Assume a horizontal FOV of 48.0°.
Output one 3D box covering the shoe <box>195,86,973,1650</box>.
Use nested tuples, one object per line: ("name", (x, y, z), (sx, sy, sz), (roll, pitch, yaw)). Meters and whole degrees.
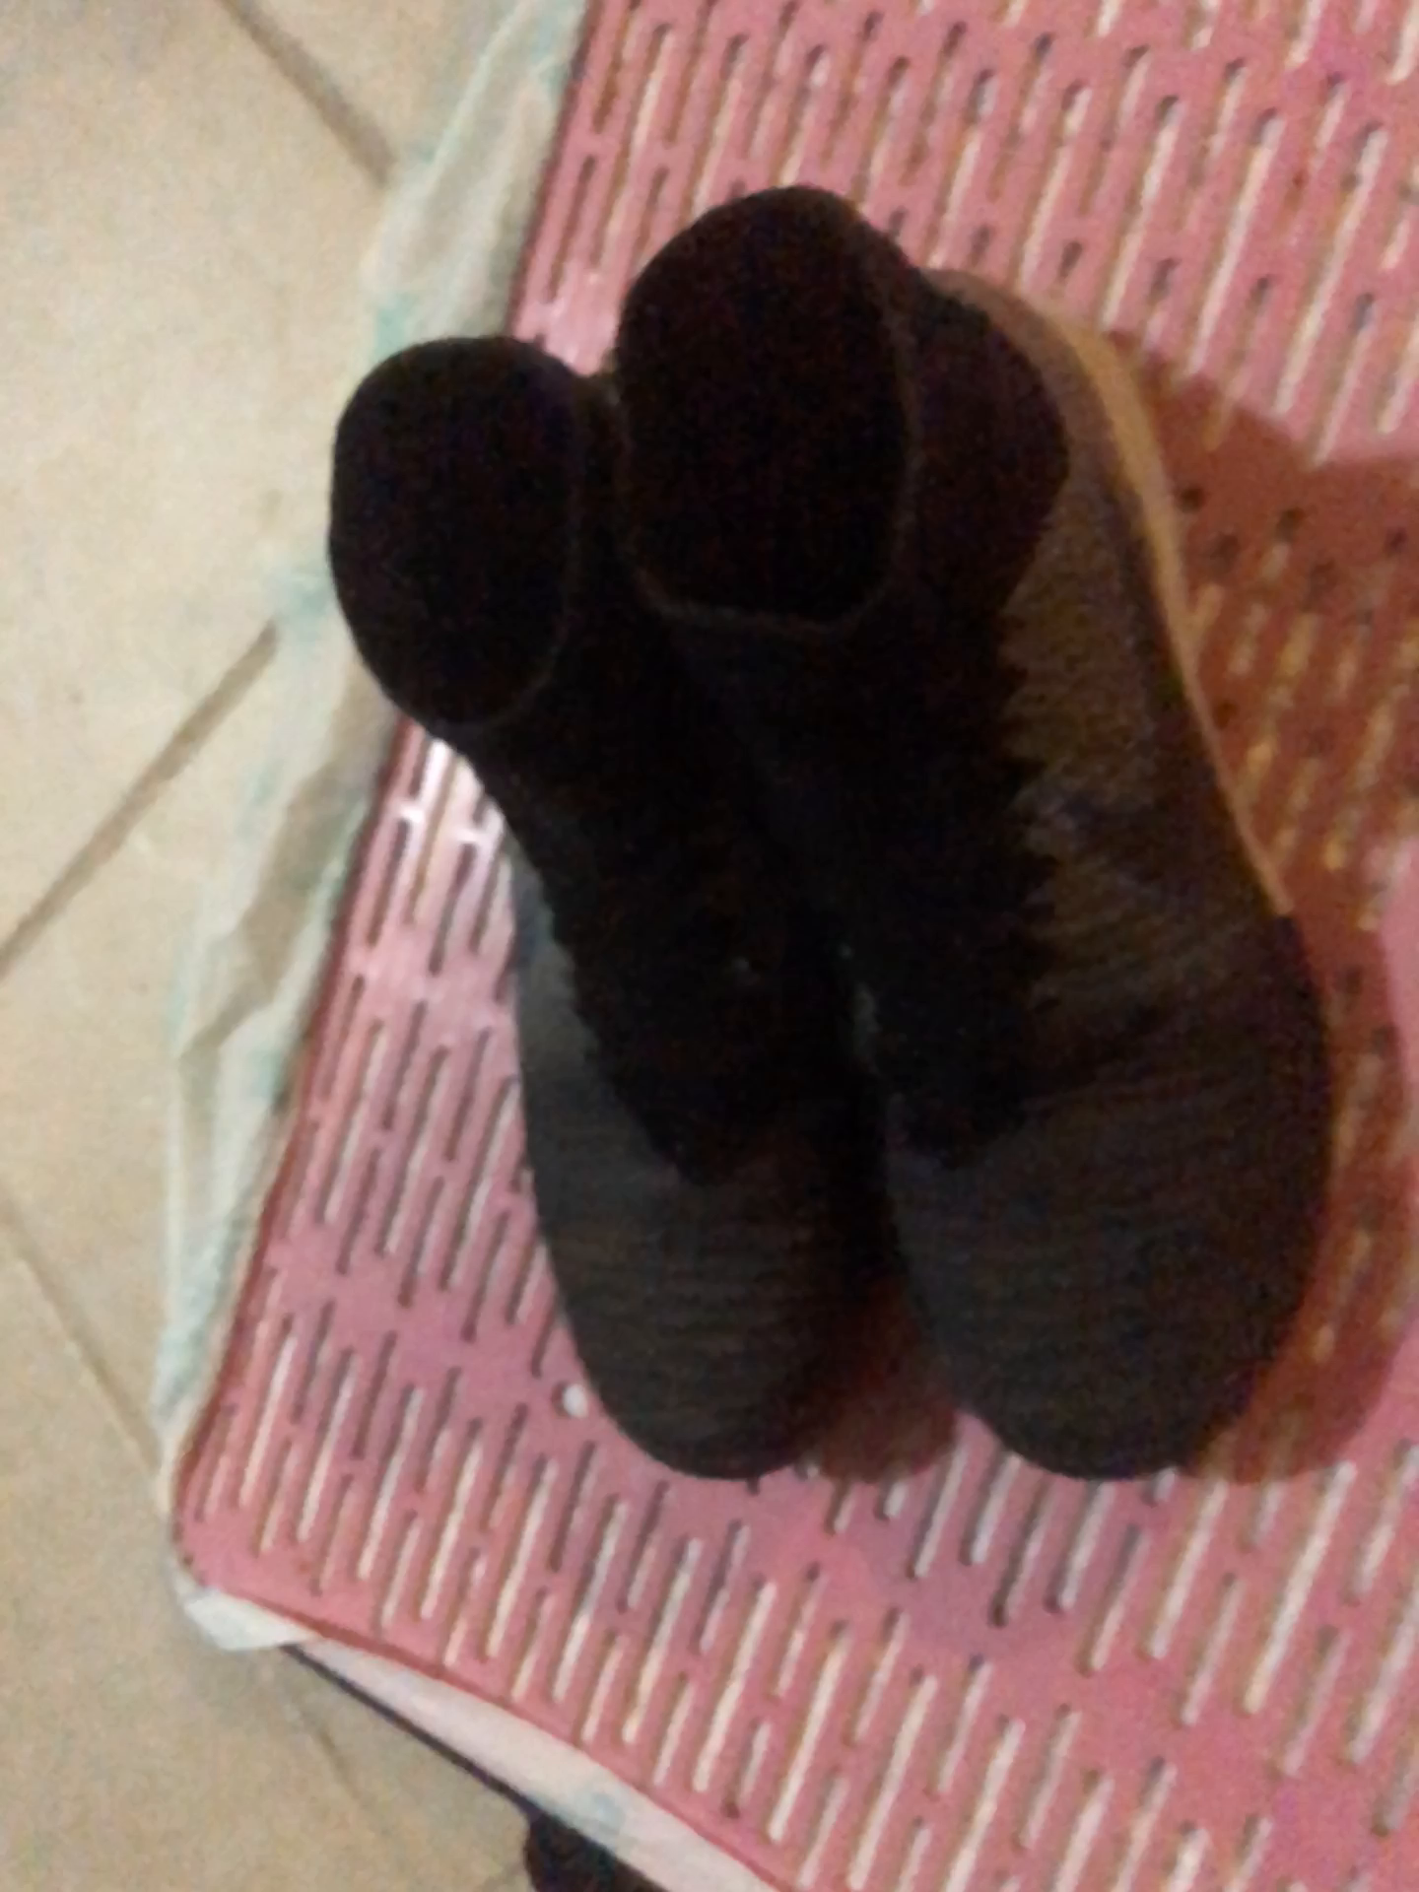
("shoe", (-0.018, -0.012, 0.362), (0.100, 0.150, 0.270), (-5, 88, 24))

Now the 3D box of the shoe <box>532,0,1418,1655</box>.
("shoe", (0.066, -0.019, 0.324), (0.100, 0.150, 0.260), (-12, 85, 23))
